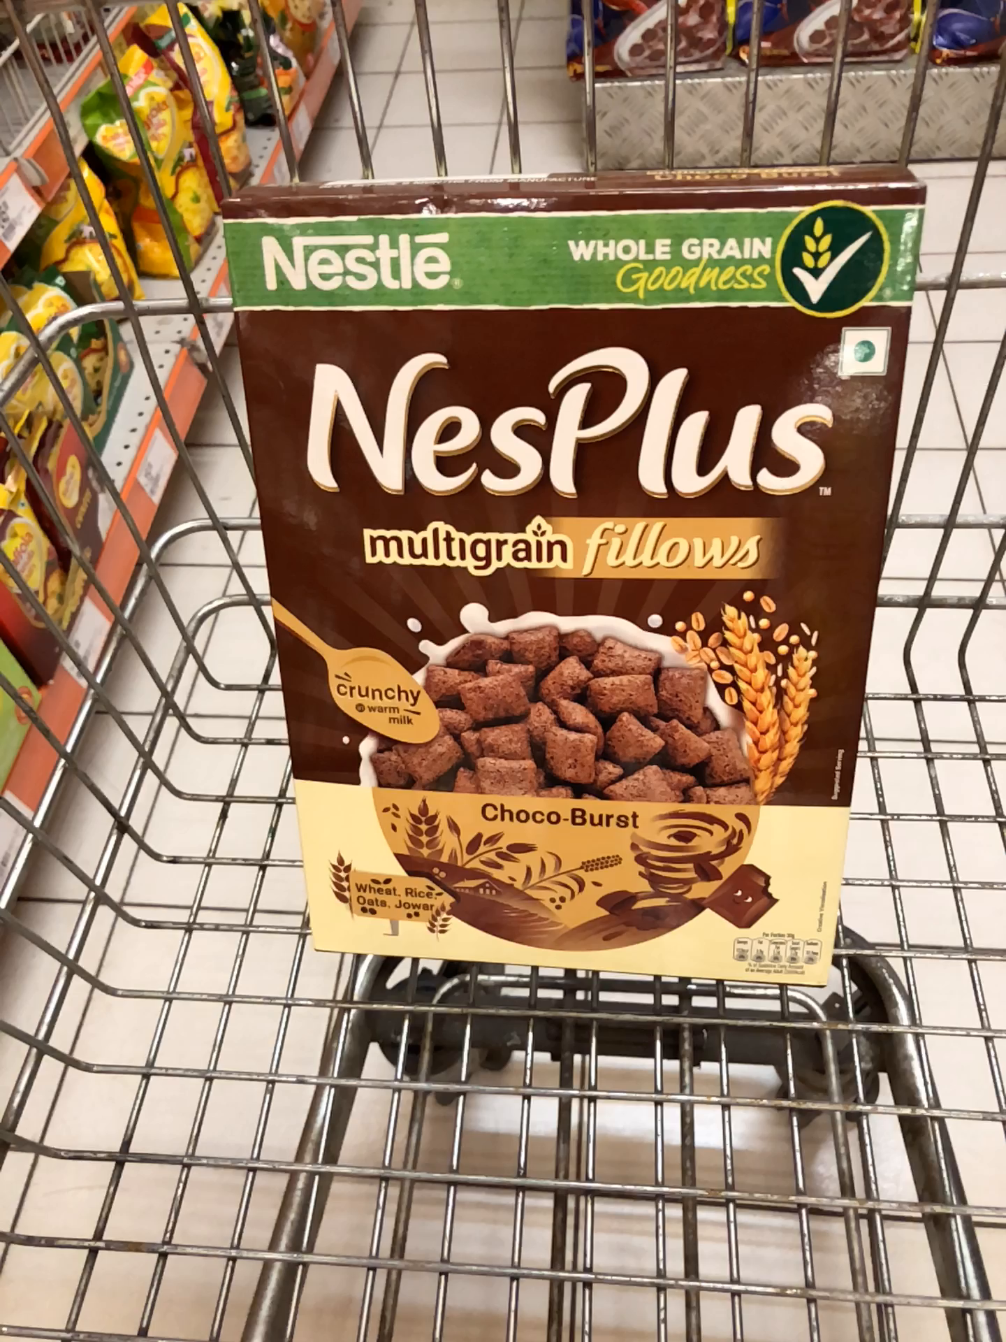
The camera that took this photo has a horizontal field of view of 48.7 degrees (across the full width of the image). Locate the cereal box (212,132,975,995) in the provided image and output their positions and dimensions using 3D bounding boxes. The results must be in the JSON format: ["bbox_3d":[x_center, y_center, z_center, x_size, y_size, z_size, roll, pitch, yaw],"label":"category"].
[{"bbox_3d":[0.026,-0.026,0.358,0.190,0.259,0.060,2,25,8],"label":"cereal box"}]
